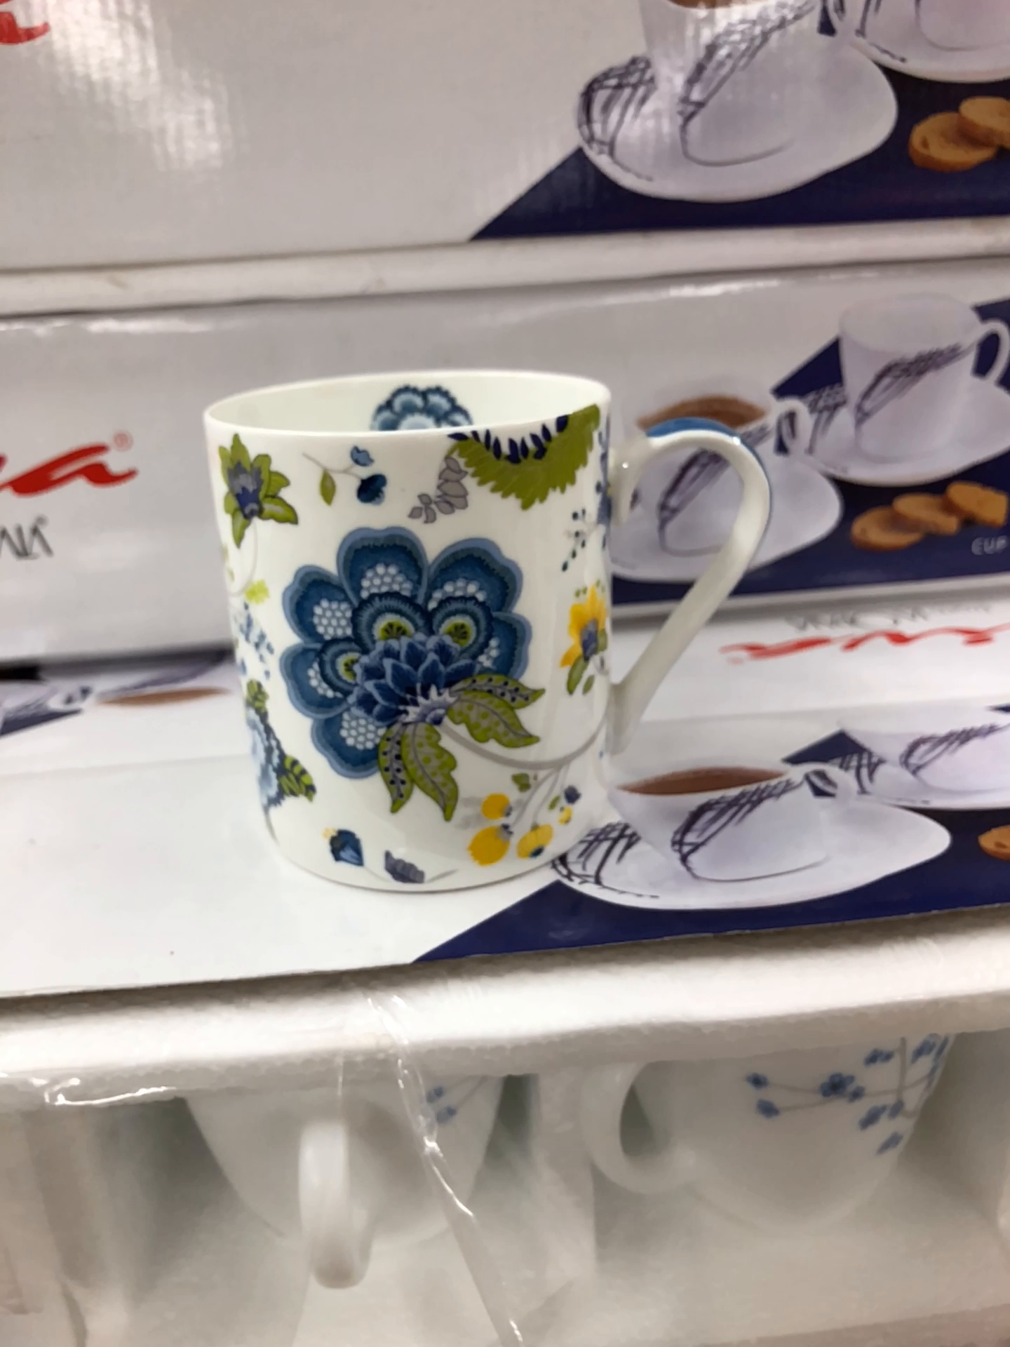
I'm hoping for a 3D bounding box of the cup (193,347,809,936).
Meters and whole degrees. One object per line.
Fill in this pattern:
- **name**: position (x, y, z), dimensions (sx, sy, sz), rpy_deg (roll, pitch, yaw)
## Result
- **cup**: position (-0.004, -0.013, 0.230), dimensions (0.100, 0.089, 0.070), rpy_deg (-6, 23, -10)
